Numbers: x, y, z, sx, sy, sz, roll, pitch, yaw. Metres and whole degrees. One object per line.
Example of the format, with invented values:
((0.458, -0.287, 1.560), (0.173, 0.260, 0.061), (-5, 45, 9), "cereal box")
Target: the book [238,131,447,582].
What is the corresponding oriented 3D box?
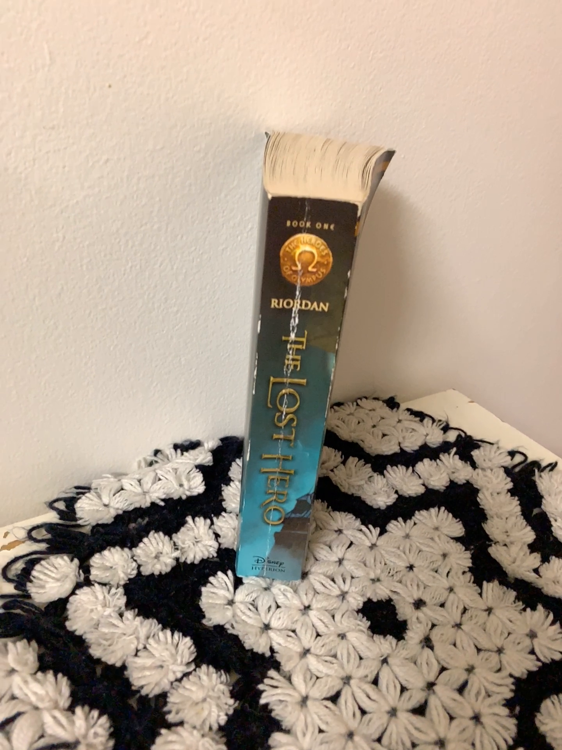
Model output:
((0.020, -0.017, 0.294), (0.068, 0.177, 0.143), (3, 29, 1), "book")
